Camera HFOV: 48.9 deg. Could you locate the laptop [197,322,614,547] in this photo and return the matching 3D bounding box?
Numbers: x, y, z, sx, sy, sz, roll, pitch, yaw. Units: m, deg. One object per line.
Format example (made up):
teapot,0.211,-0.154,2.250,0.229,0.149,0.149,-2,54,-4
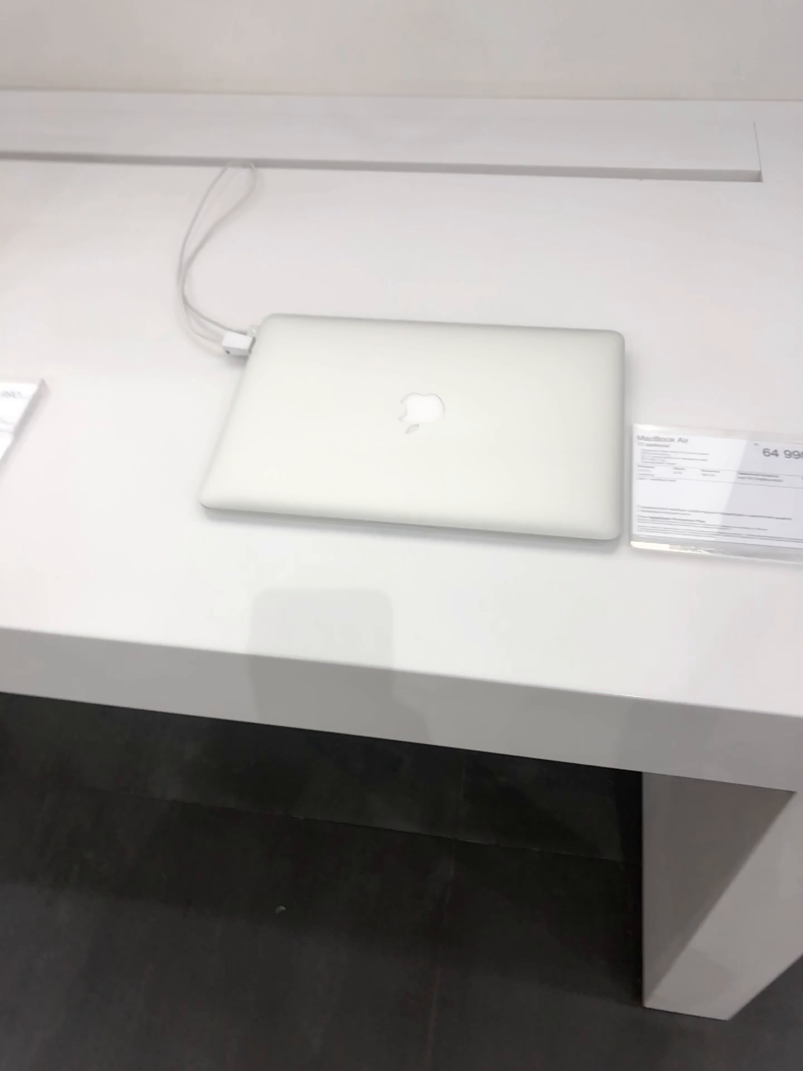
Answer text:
laptop,0.013,-0.092,0.716,0.307,0.008,0.210,5,54,9
